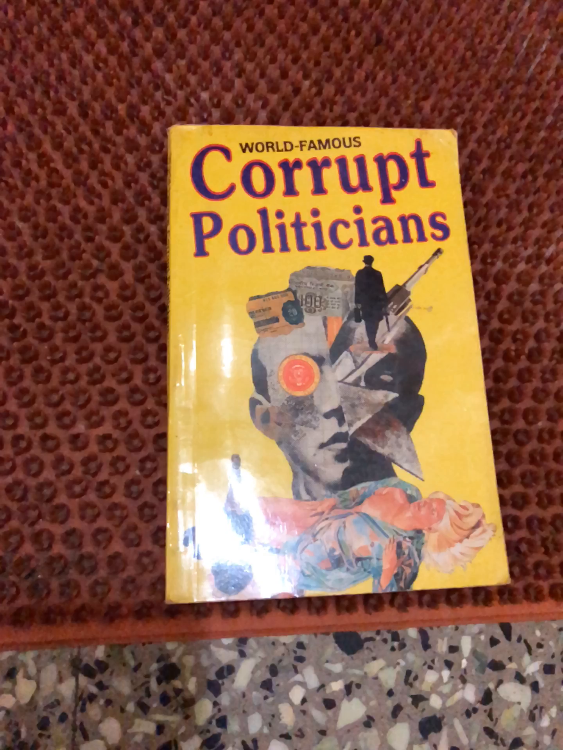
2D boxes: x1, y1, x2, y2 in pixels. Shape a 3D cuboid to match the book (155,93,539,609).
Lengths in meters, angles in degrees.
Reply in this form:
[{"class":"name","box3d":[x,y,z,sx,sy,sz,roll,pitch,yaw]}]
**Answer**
[{"class":"book","box3d":[0.022,-0.022,0.283,0.150,0.020,0.230,-1,74,-6]}]
